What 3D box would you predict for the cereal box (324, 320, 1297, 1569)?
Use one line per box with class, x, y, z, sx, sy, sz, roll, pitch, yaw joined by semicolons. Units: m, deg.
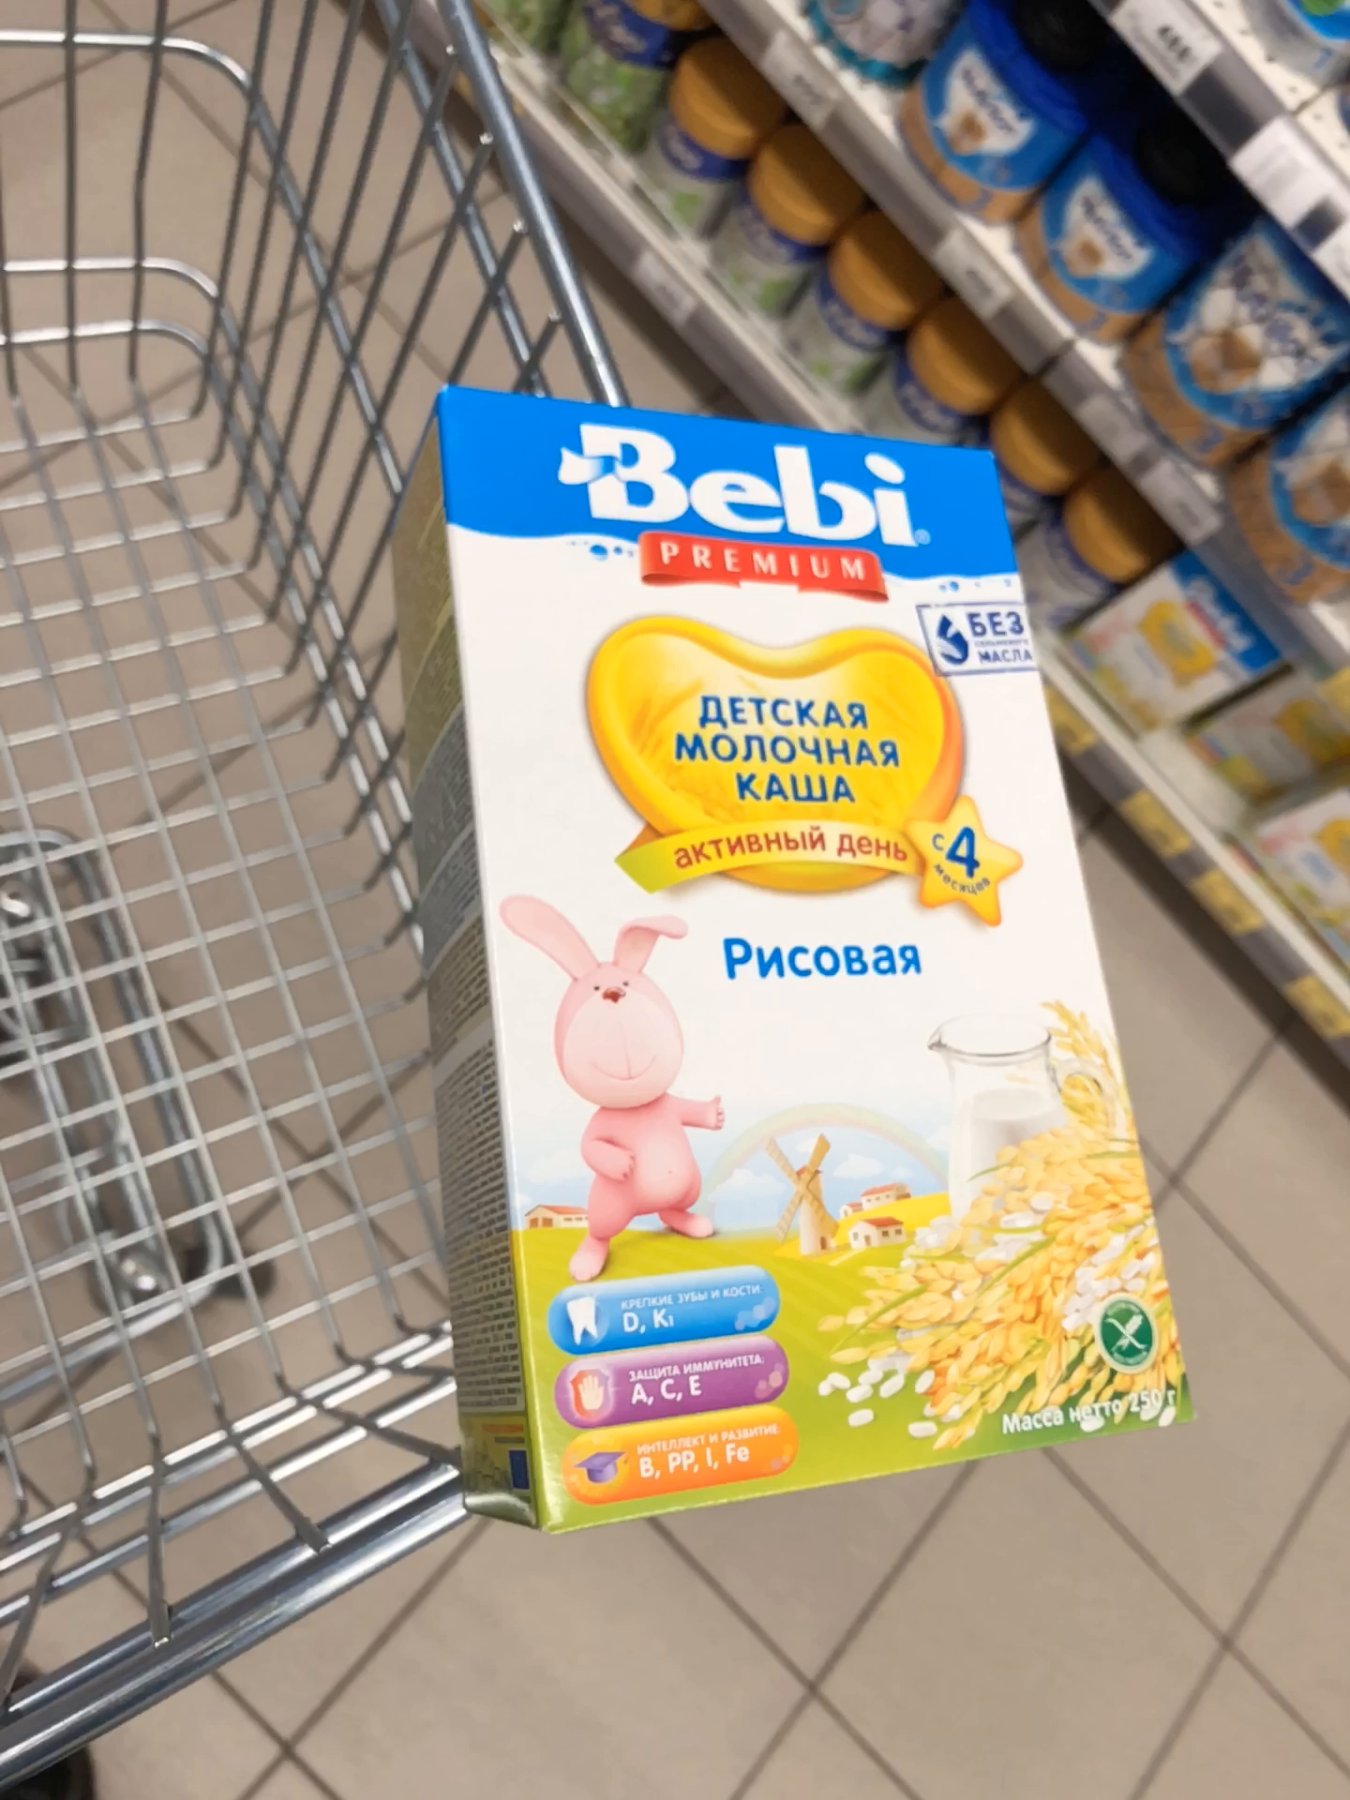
cereal box;0.017;0.001;0.290;0.150;0.050;0.210;-1;72;-19
